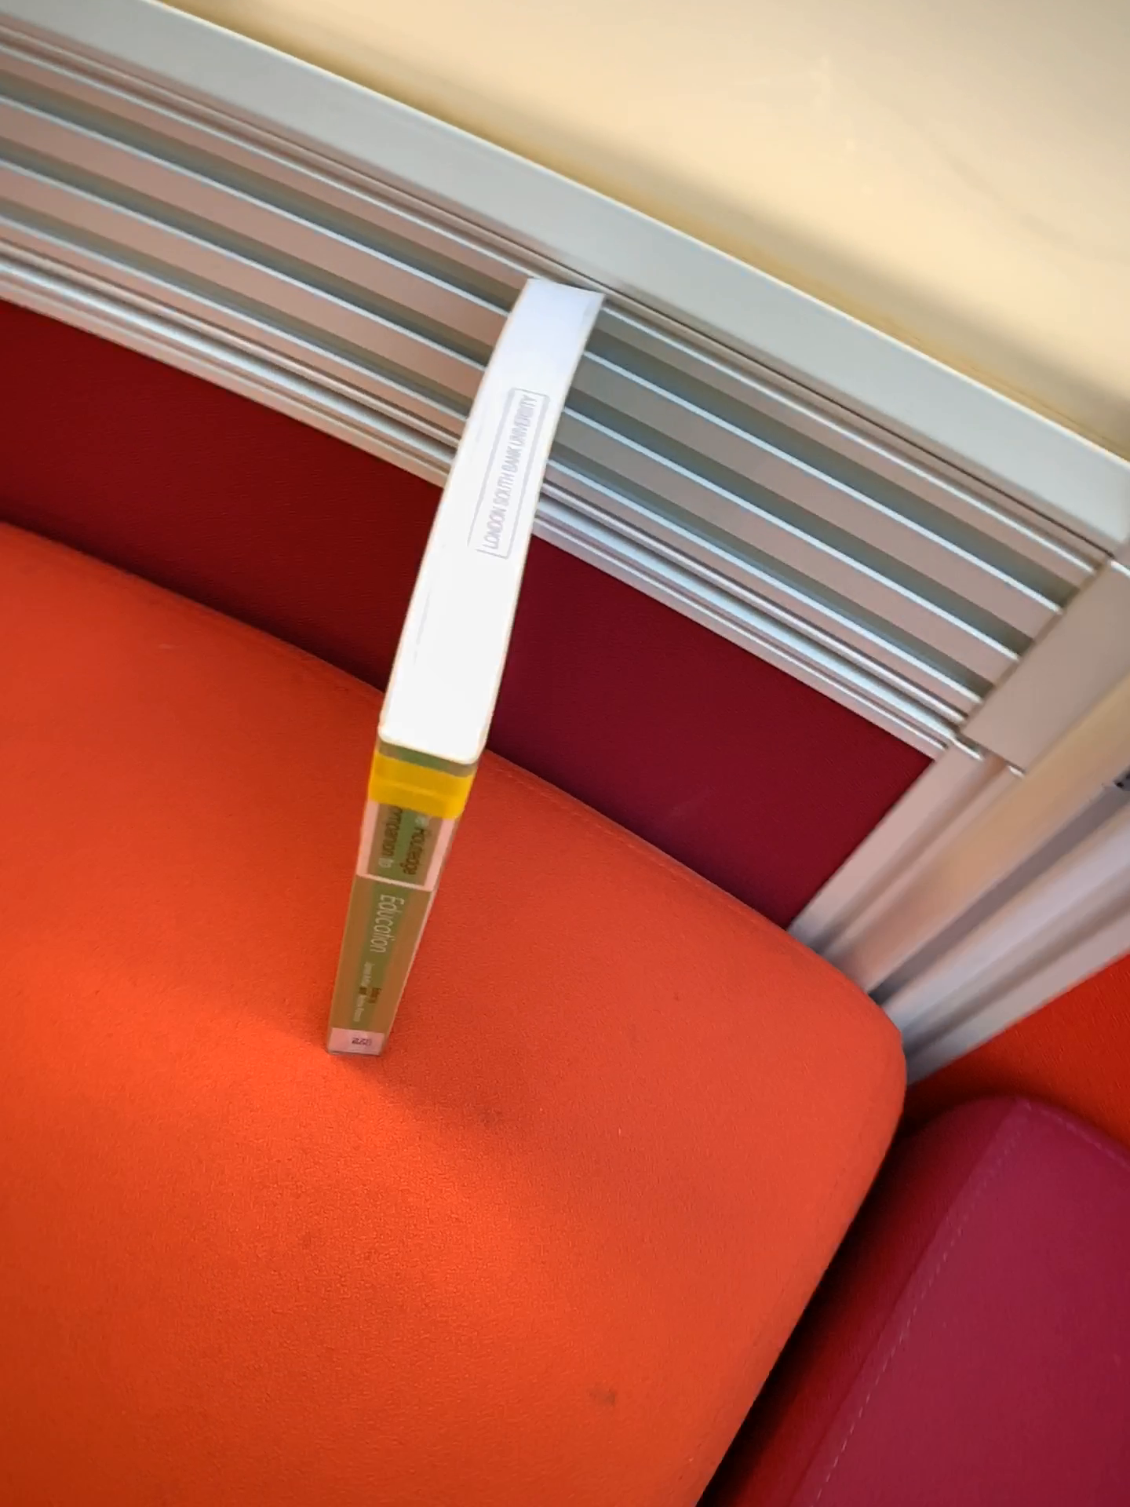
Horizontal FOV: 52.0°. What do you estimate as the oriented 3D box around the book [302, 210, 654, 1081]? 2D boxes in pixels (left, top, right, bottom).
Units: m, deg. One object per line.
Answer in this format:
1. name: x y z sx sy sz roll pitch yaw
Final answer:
1. book: -0.040 -0.017 0.425 0.040 0.268 0.201 17 57 -5
